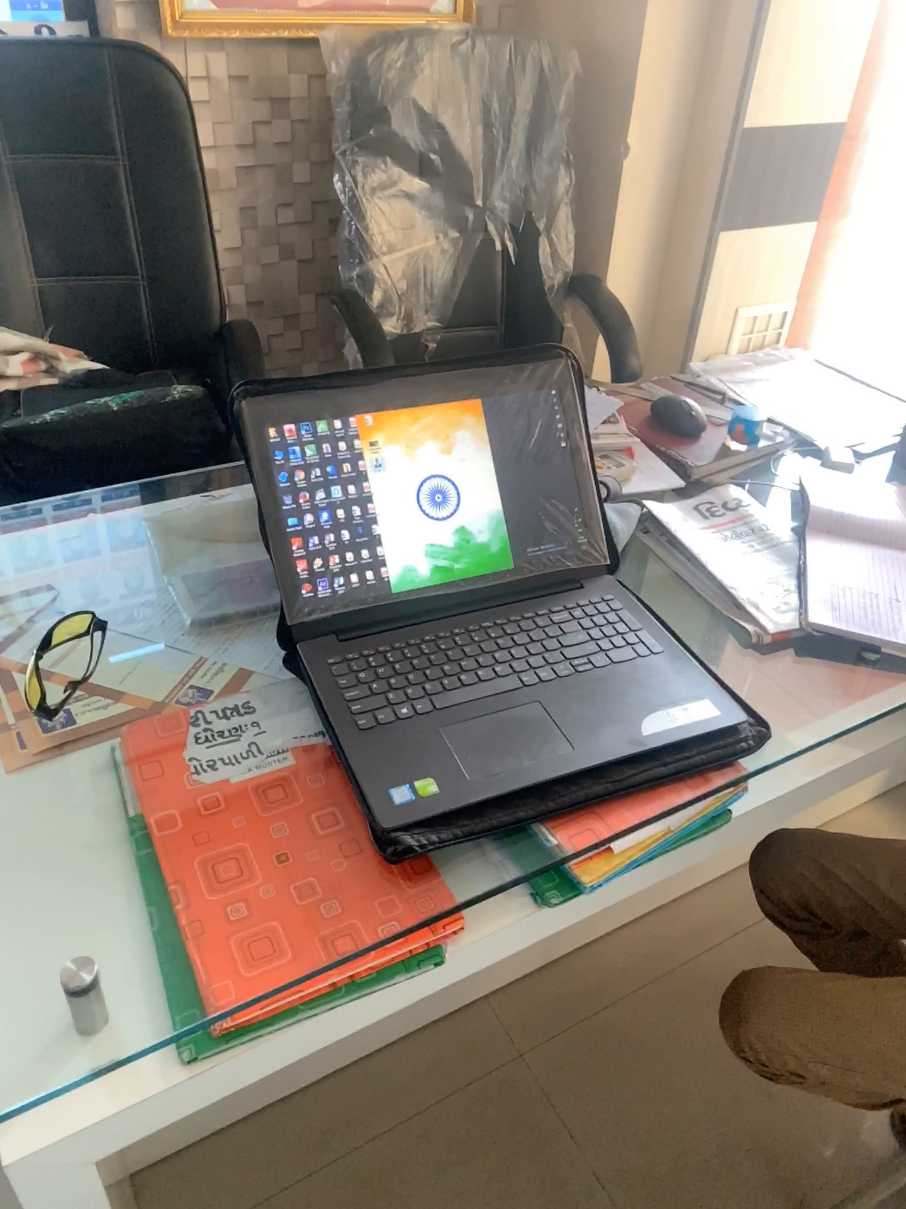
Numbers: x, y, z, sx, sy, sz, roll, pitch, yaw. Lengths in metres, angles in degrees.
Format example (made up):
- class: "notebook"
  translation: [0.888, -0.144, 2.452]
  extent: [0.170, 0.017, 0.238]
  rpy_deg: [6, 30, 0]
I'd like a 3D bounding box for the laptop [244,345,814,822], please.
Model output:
- class: "laptop"
  translation: [0.031, -0.056, 0.822]
  extent: [0.334, 0.175, 0.392]
  rpy_deg: [-11, 40, -20]
